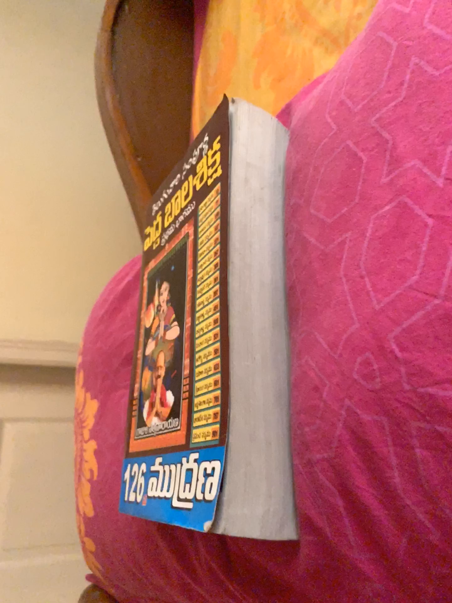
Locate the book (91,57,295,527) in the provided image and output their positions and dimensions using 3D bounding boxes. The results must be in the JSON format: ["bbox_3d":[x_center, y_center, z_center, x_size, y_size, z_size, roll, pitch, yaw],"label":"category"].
[{"bbox_3d":[-0.028,0.003,0.326,0.181,0.050,0.260,-33,50,56],"label":"book"}]
